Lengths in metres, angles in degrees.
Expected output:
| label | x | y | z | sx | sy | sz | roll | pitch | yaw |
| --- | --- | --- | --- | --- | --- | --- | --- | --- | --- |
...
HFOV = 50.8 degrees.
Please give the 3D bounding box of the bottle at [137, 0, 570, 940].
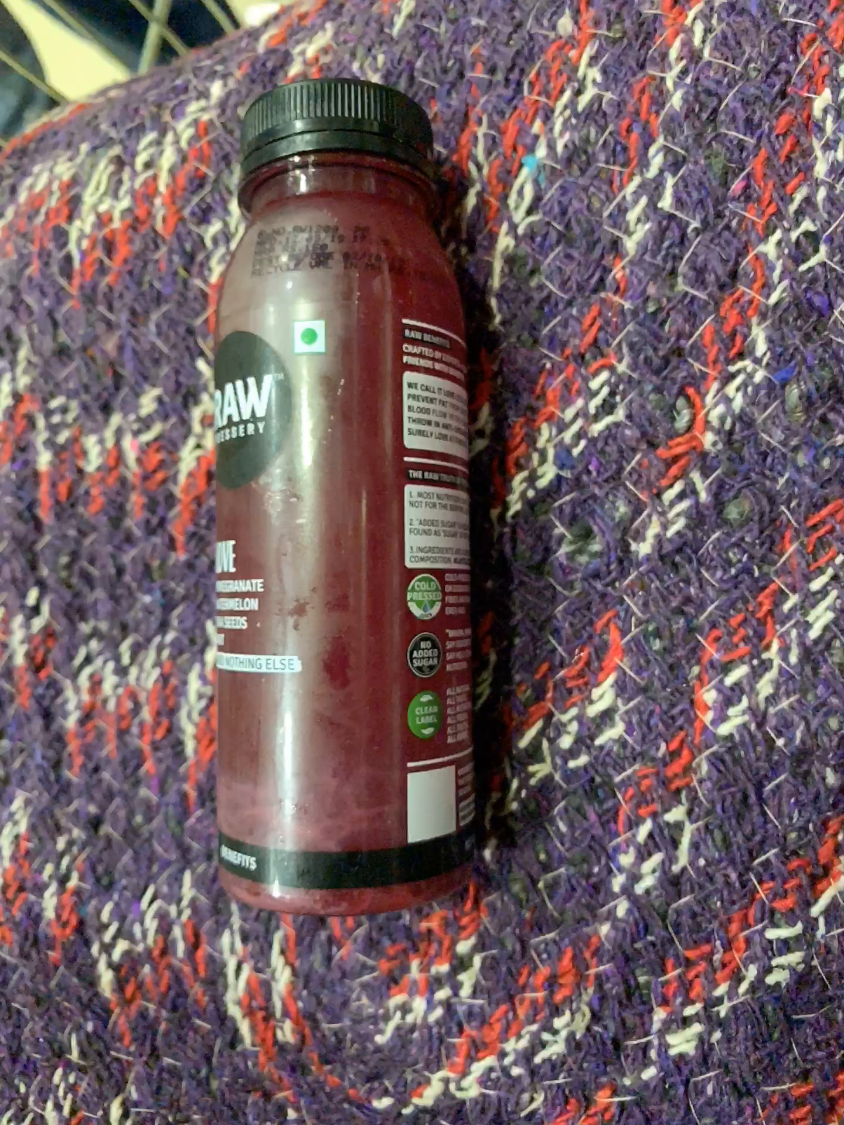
| label | x | y | z | sx | sy | sz | roll | pitch | yaw |
| --- | --- | --- | --- | --- | --- | --- | --- | --- | --- |
| bottle | -0.014 | -0.026 | 0.179 | 0.060 | 0.060 | 0.170 | -4 | 85 | 46 |
